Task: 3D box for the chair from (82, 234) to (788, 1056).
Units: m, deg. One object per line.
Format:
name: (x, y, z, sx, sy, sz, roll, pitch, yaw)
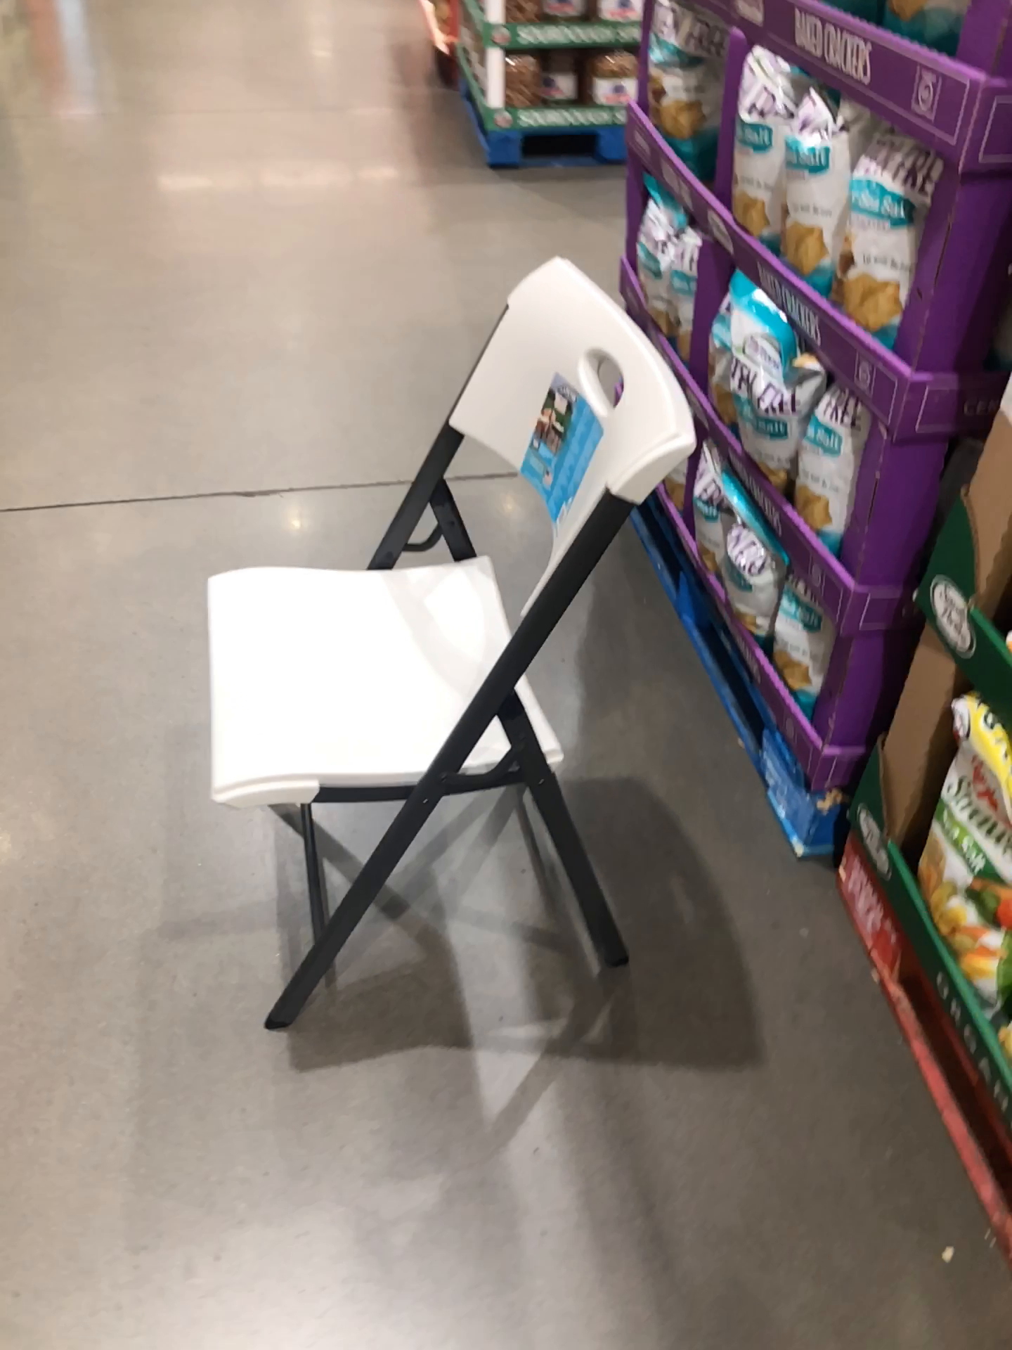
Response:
chair: (-0.101, -0.036, 1.386, 0.594, 0.790, 0.548, -7, 41, -9)
